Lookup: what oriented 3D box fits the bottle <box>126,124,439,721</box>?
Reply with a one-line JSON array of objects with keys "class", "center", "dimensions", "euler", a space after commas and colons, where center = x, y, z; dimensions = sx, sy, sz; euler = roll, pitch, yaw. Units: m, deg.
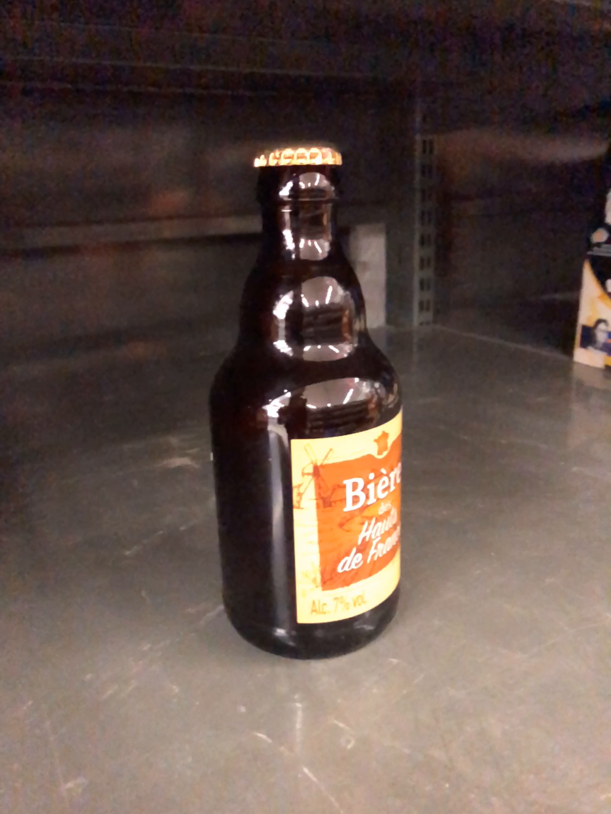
[{"class": "bottle", "center": [-0.004, 0.001, 0.241], "dimensions": [0.070, 0.179, 0.070], "euler": [-2, 17, 1]}]

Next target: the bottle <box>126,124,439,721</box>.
[{"class": "bottle", "center": [-0.004, 0.001, 0.241], "dimensions": [0.070, 0.179, 0.070], "euler": [-2, 17, 1]}]
